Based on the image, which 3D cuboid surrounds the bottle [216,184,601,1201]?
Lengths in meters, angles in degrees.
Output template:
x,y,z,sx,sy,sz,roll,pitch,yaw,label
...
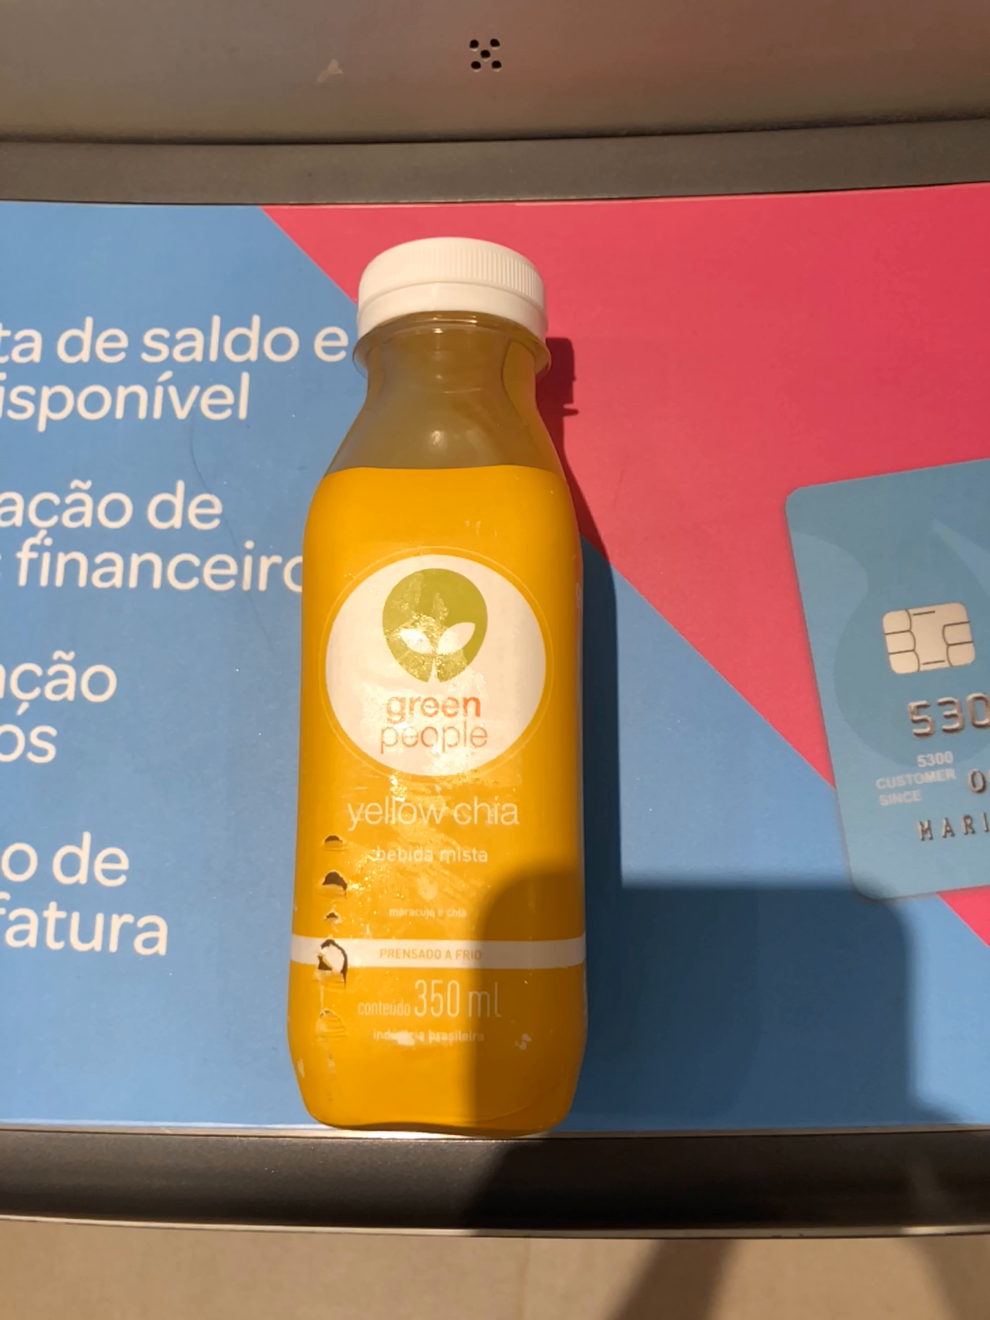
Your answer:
x,y,z,sx,sy,sz,roll,pitch,yaw,label
-0.011,0.003,0.227,0.060,0.060,0.180,1,81,6,bottle
